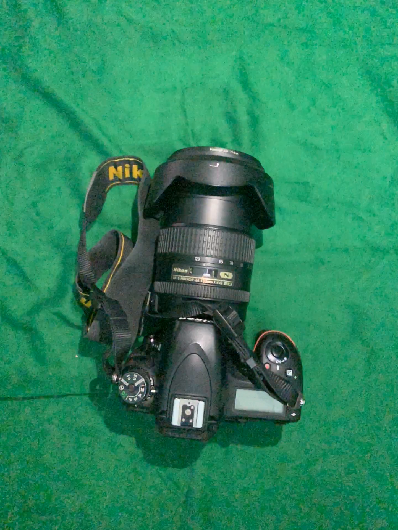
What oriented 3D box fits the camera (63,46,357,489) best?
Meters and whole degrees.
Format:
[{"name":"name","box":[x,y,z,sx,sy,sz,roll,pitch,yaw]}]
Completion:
[{"name":"camera","box":[0.015,-0.004,0.330,0.170,0.100,0.290,6,81,2]}]
